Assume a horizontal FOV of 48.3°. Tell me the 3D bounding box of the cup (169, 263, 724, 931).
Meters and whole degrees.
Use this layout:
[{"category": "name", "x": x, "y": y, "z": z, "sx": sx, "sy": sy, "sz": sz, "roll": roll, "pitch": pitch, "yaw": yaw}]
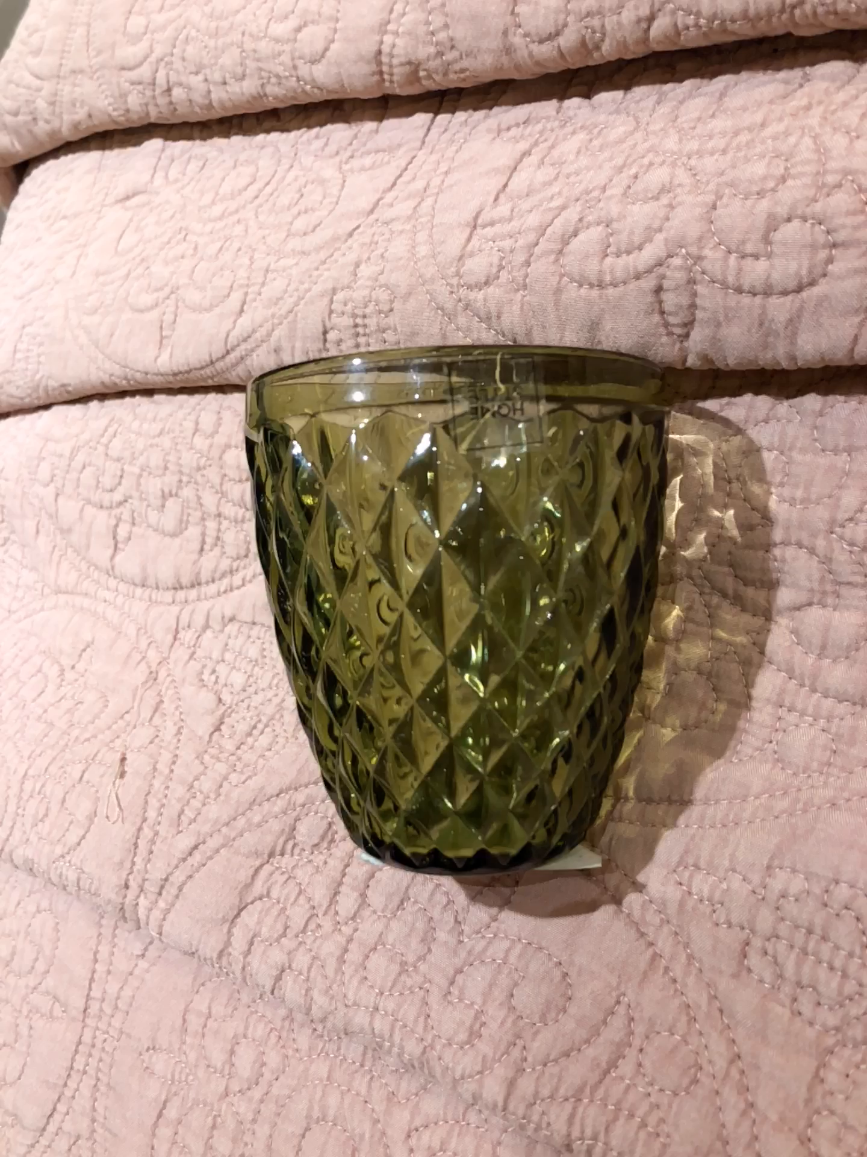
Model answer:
[{"category": "cup", "x": 0.005, "y": 0.000, "z": 0.195, "sx": 0.080, "sy": 0.070, "sz": 0.100, "roll": 1, "pitch": 97, "yaw": 37}]
